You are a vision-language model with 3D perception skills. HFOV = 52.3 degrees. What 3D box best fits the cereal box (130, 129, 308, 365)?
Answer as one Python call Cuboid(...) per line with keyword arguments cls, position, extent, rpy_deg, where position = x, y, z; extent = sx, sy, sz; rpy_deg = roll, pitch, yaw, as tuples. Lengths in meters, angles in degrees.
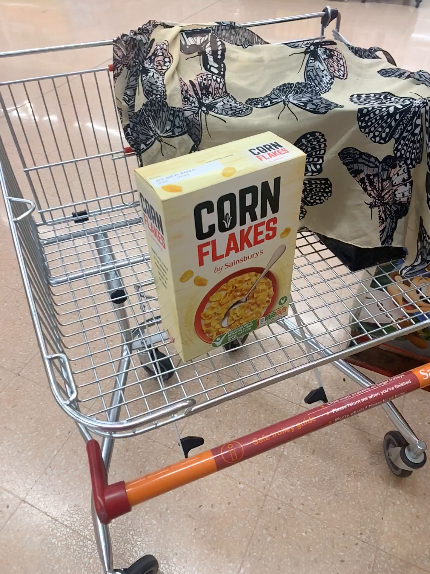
Cuboid(cls="cereal box", position=(0.008, -0.046, 0.600), extent=(0.190, 0.277, 0.081), rpy_deg=(-22, 47, -21))
